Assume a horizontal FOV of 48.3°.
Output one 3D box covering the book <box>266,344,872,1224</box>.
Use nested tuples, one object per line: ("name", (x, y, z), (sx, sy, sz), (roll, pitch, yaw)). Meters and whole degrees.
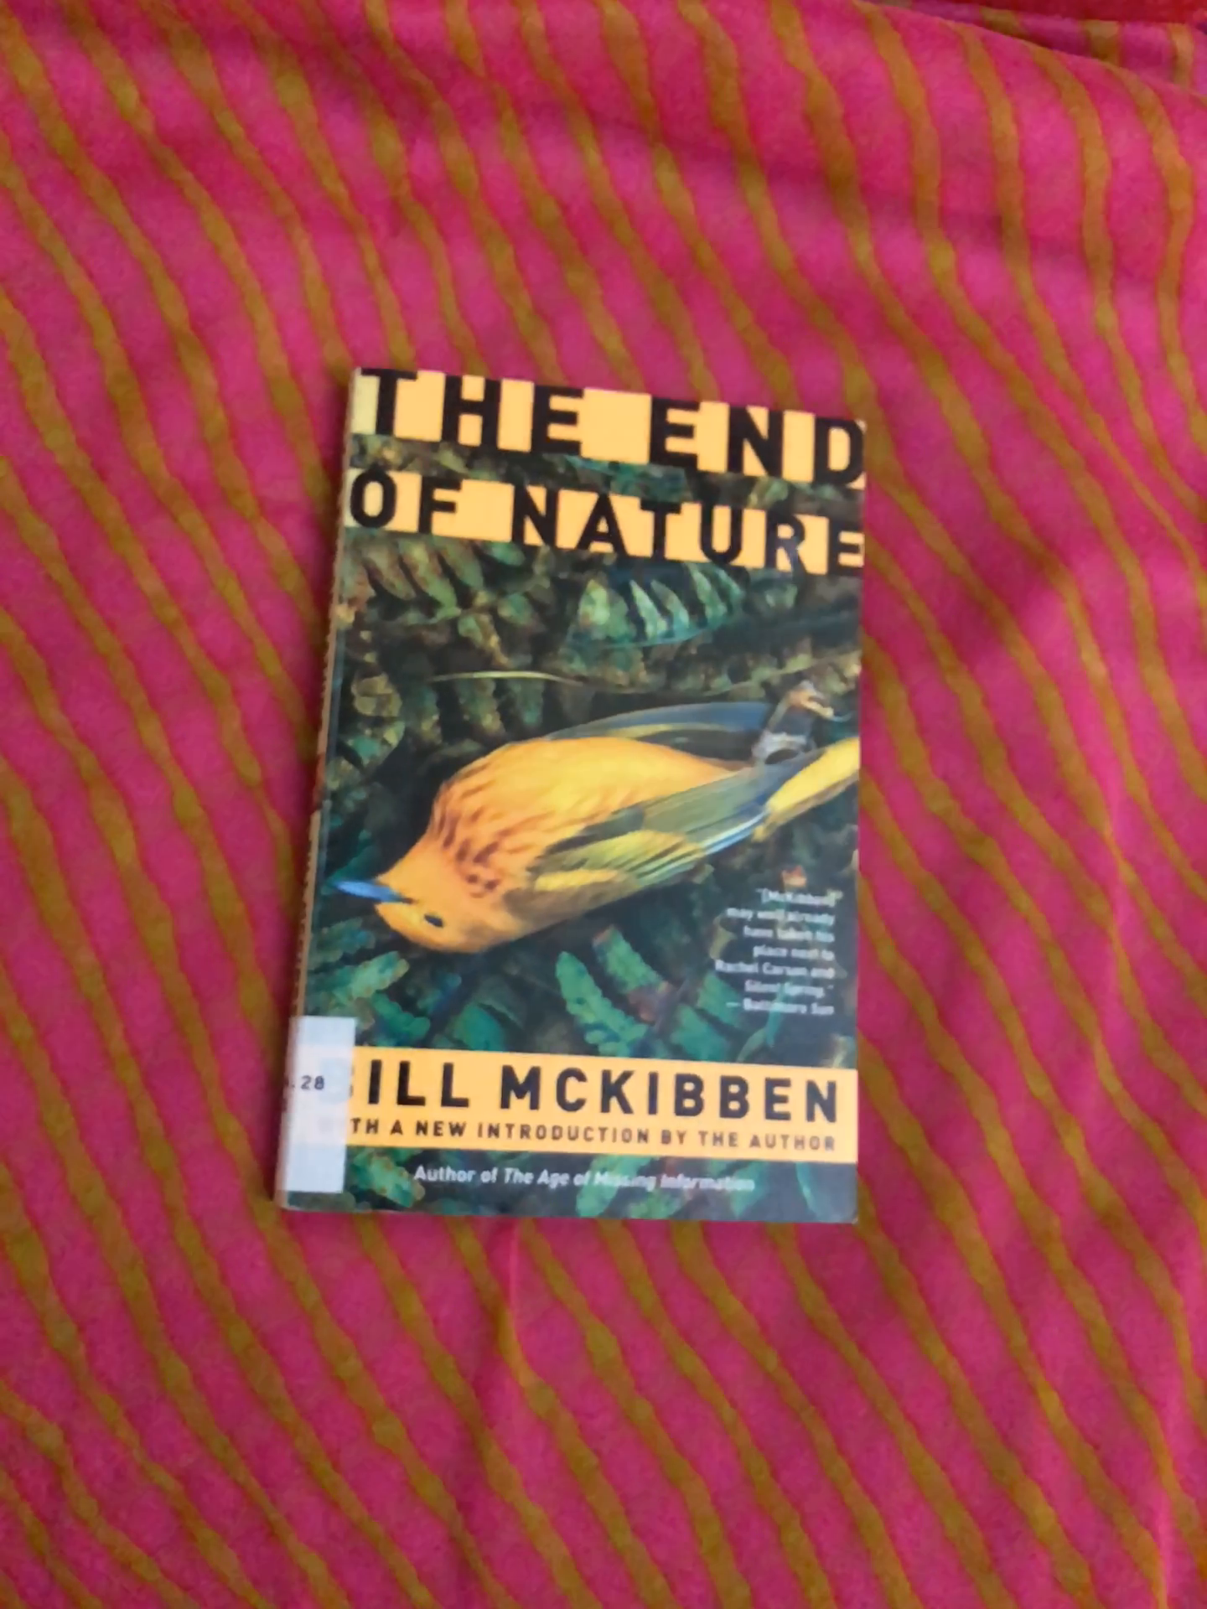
("book", (-0.004, -0.004, 0.319), (0.132, 0.020, 0.194), (5, 81, -12))
